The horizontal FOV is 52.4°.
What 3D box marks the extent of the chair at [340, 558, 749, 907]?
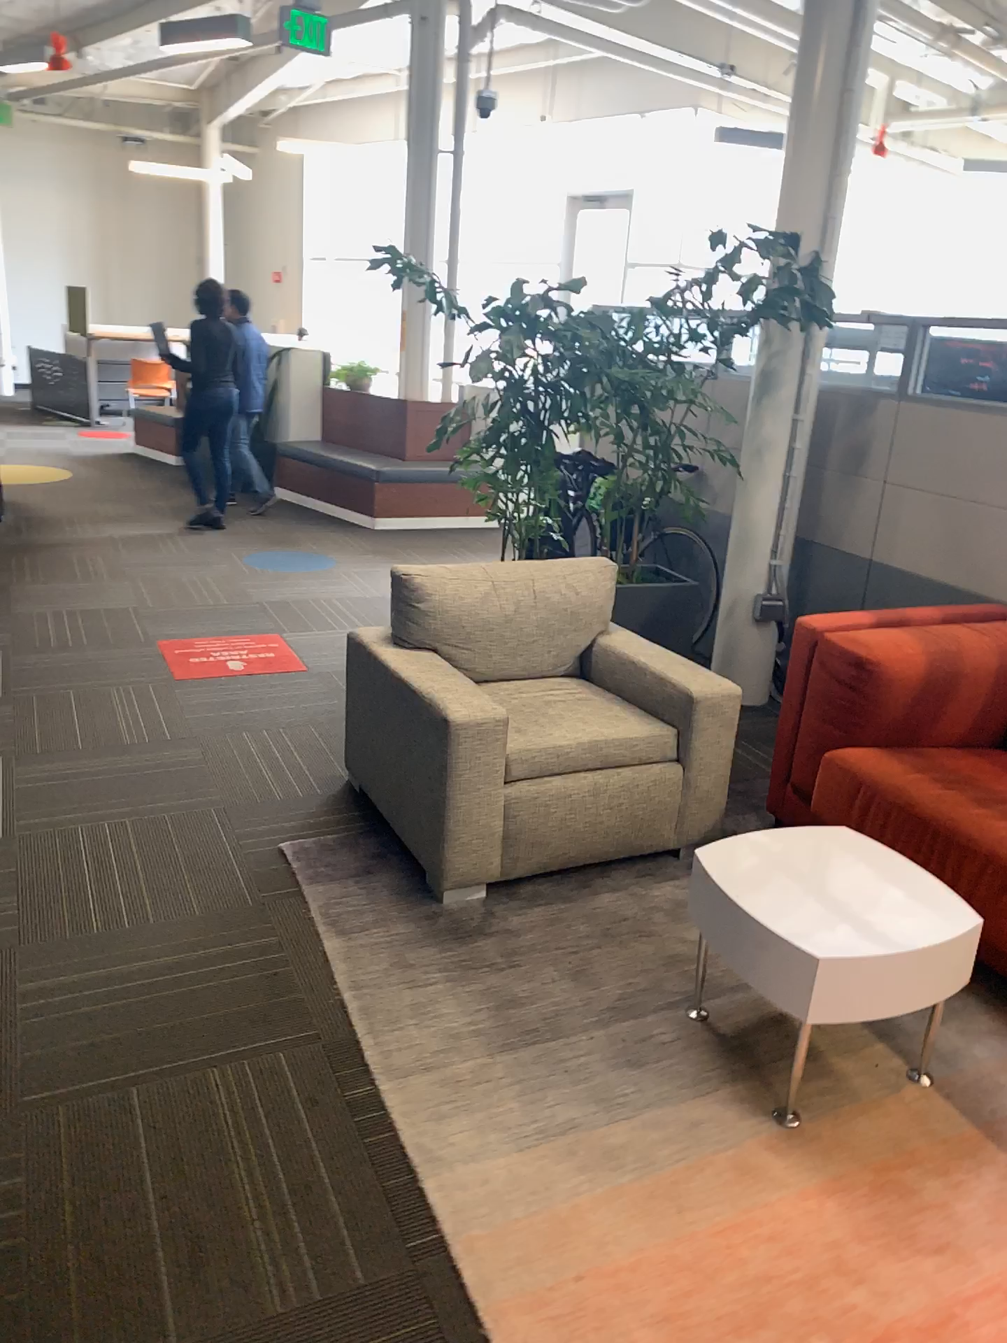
[{"bbox_3d":[0.074,0.114,3.204,0.920,0.727,0.874,-5,20,-26],"label":"chair"}]
